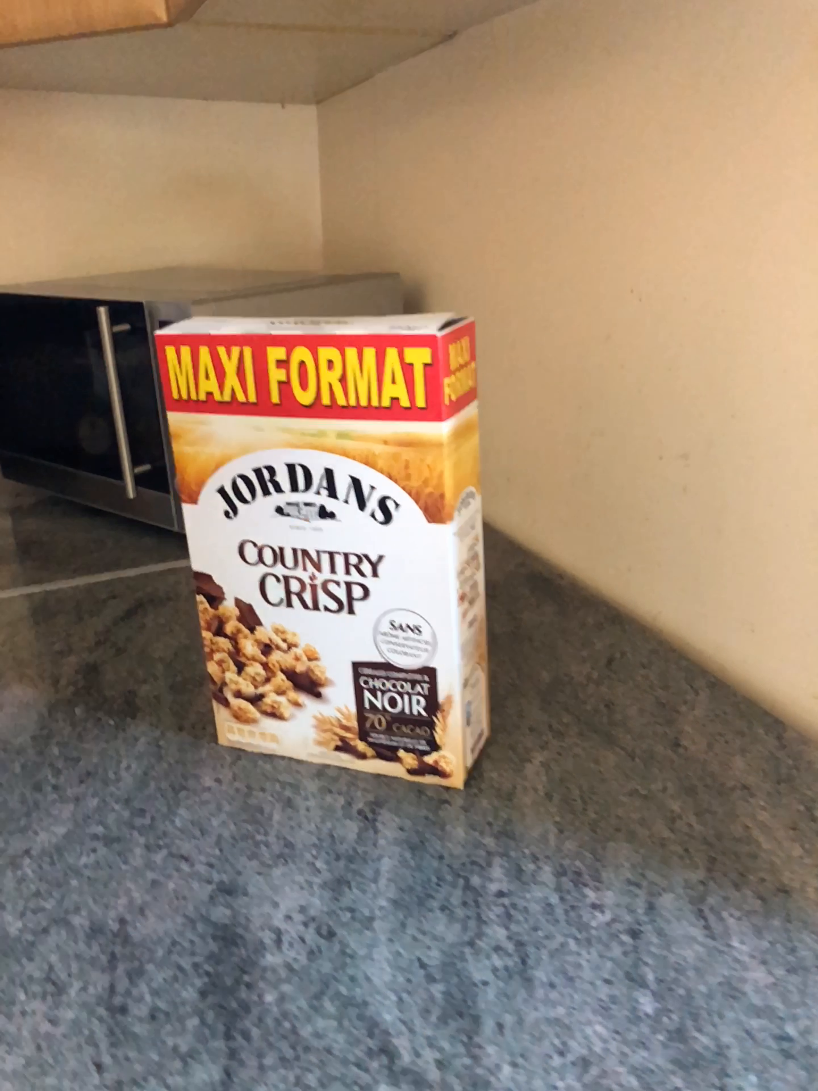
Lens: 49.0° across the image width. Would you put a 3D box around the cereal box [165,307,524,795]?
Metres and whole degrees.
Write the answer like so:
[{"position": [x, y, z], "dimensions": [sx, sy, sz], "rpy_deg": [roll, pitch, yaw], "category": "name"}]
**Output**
[{"position": [-0.034, 0.002, 0.596], "dimensions": [0.200, 0.299, 0.070], "rpy_deg": [4, 22, 22], "category": "cereal box"}]
